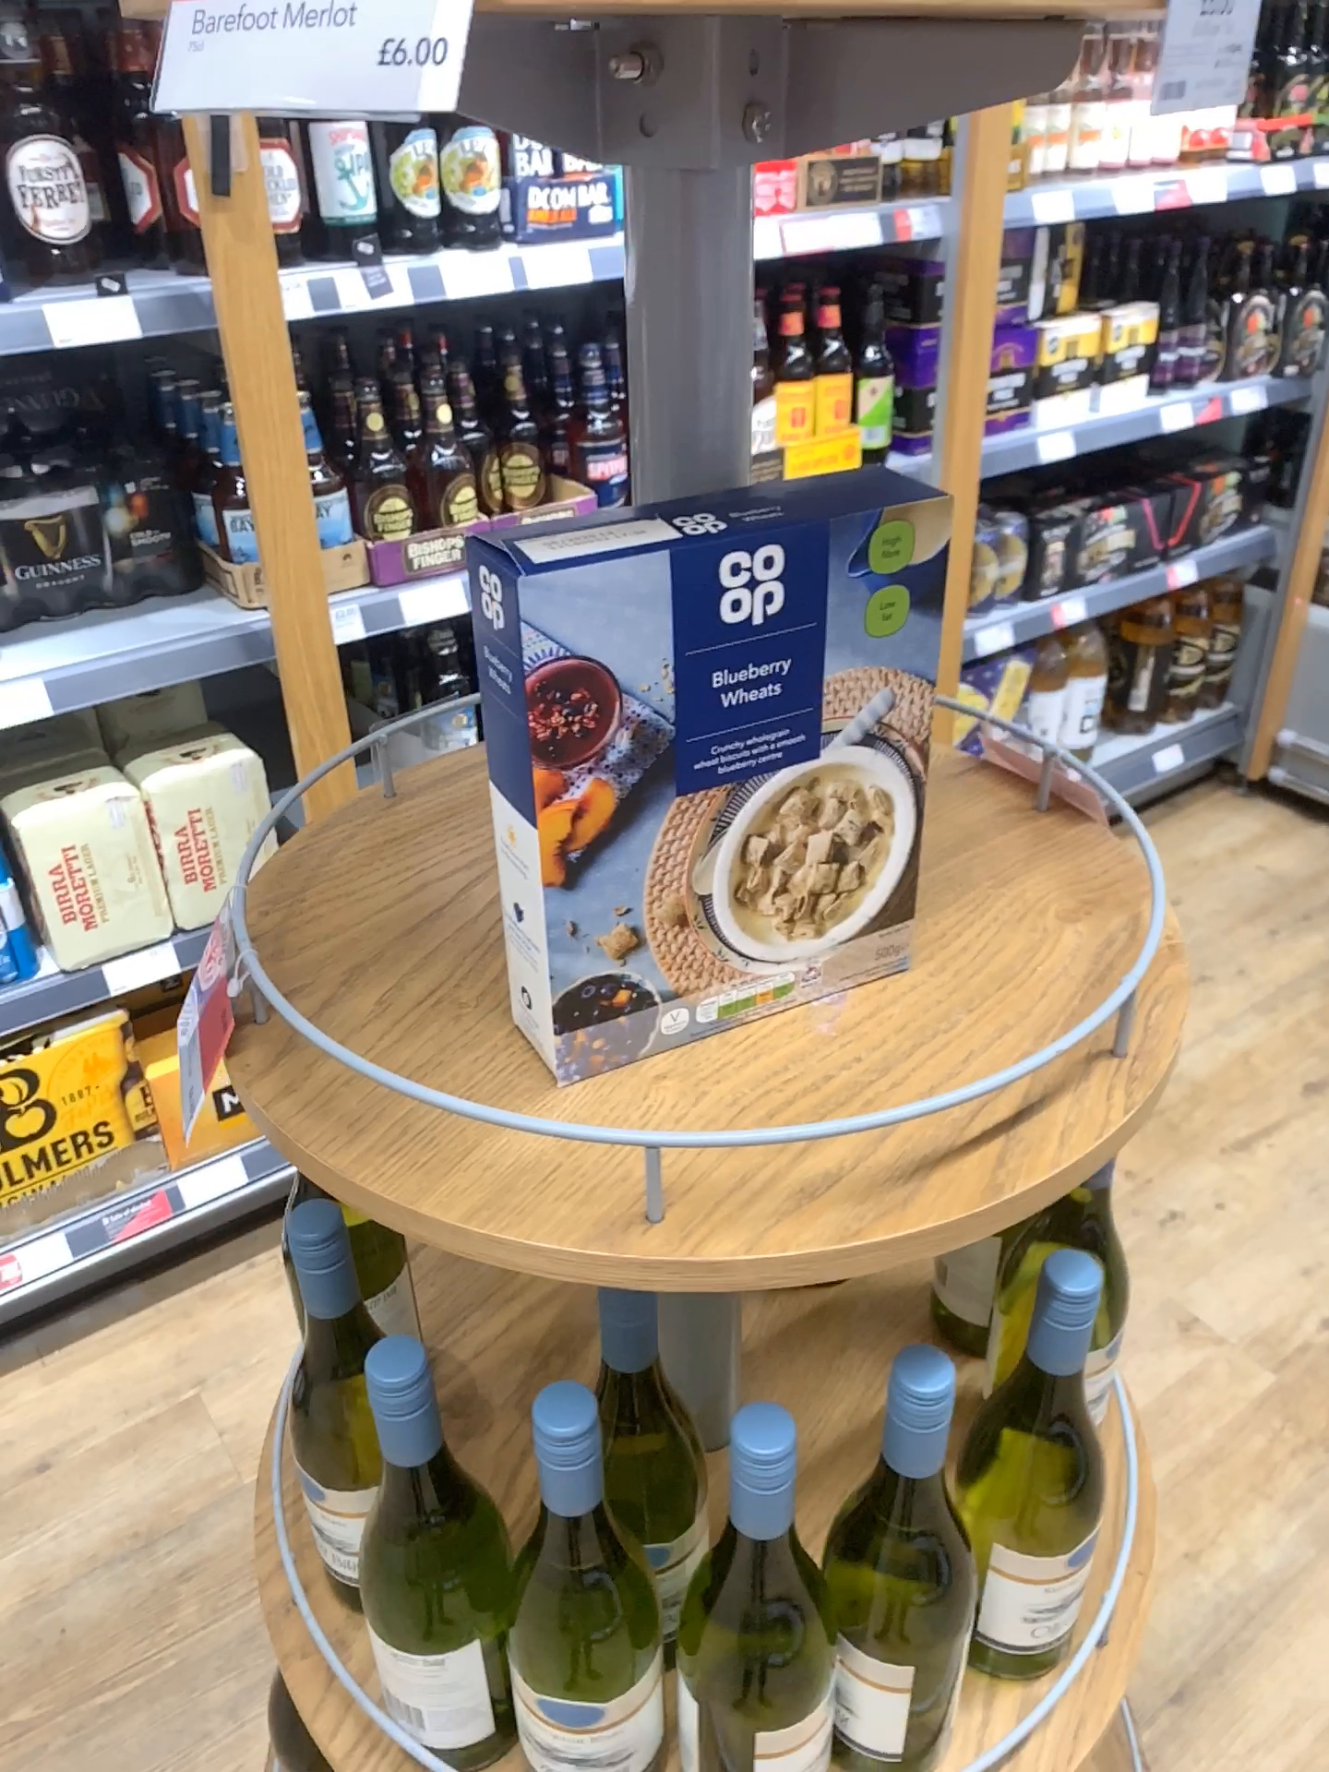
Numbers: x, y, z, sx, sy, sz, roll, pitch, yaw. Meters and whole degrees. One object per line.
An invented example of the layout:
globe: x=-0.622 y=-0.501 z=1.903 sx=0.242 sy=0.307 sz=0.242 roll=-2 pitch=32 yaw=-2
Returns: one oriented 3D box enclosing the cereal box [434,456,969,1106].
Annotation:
cereal box: x=0.020 y=-0.046 z=0.577 sx=0.200 sy=0.228 sz=0.060 roll=-17 pitch=34 yaw=-23
